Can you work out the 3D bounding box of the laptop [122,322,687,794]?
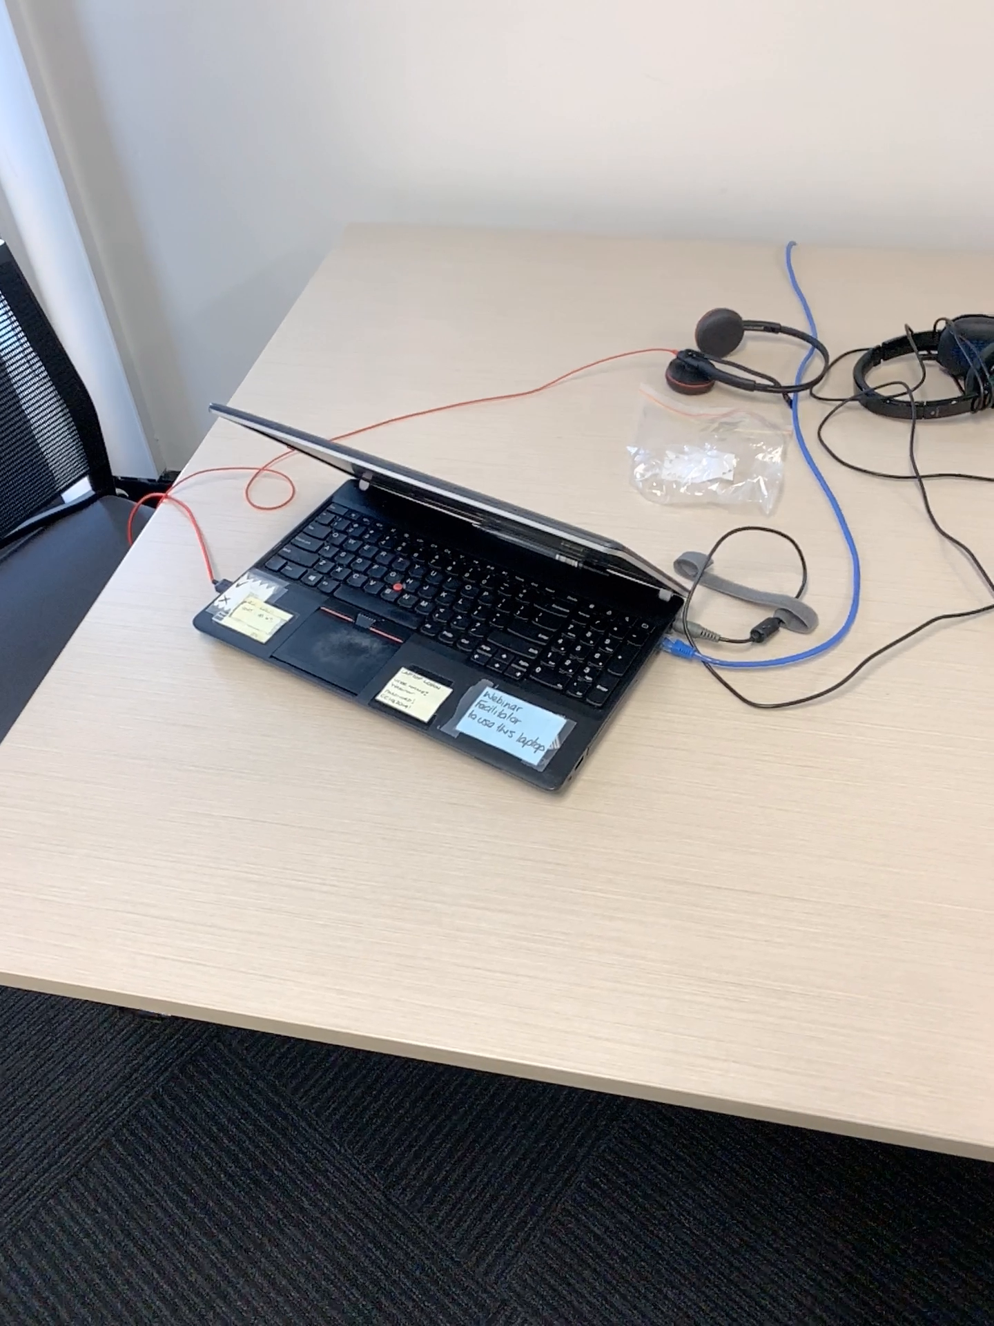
[{"bbox_3d":[-0.057,-0.097,0.744,0.326,0.157,0.227,22,48,23],"label":"laptop"}]
